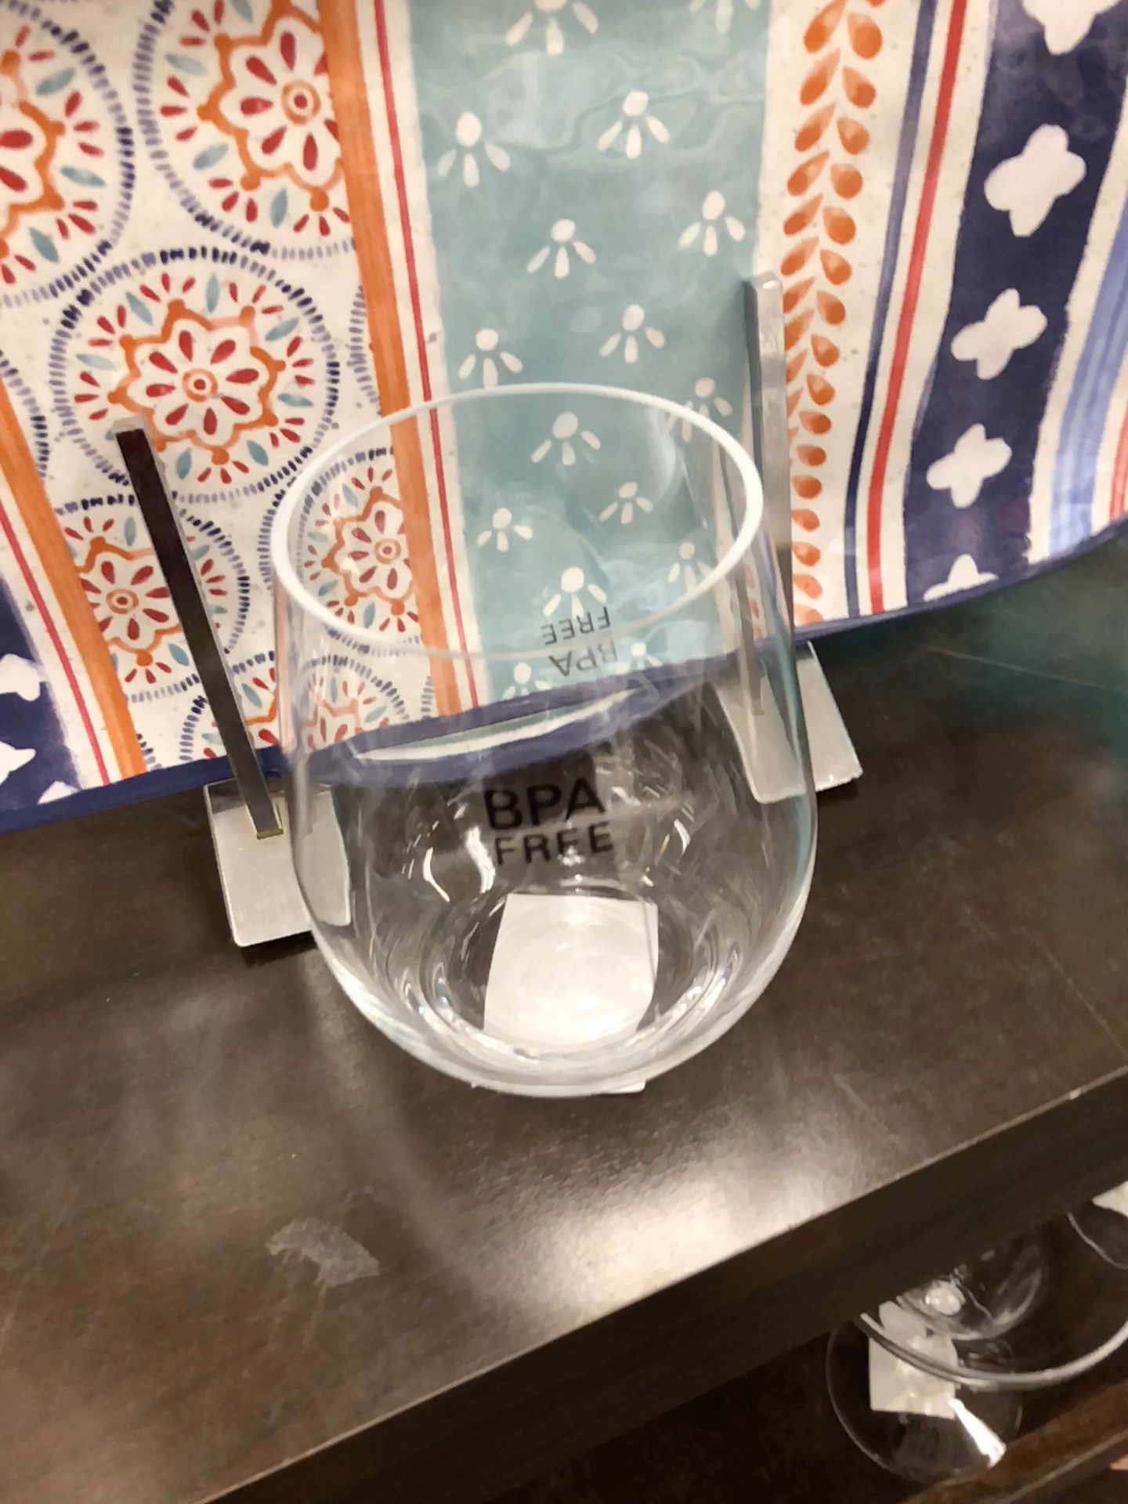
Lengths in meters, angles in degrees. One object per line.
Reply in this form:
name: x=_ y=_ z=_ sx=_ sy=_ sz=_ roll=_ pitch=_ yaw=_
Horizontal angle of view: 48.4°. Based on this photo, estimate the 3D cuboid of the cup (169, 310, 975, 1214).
cup: x=-0.004 y=-0.001 z=0.213 sx=0.094 sy=0.097 sz=0.094 roll=-3 pitch=43 yaw=3
